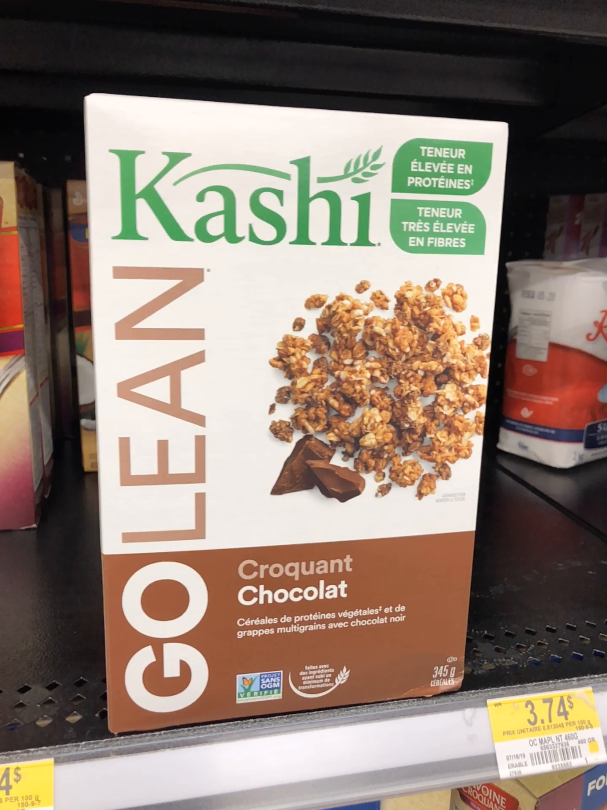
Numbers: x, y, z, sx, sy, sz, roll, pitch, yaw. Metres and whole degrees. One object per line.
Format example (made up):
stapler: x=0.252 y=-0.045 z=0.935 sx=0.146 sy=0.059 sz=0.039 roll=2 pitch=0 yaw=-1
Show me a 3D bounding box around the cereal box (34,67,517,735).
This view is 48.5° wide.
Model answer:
cereal box: x=-0.012 y=0.004 z=0.287 sx=0.170 sy=0.249 sz=0.050 roll=-2 pitch=14 yaw=-12
